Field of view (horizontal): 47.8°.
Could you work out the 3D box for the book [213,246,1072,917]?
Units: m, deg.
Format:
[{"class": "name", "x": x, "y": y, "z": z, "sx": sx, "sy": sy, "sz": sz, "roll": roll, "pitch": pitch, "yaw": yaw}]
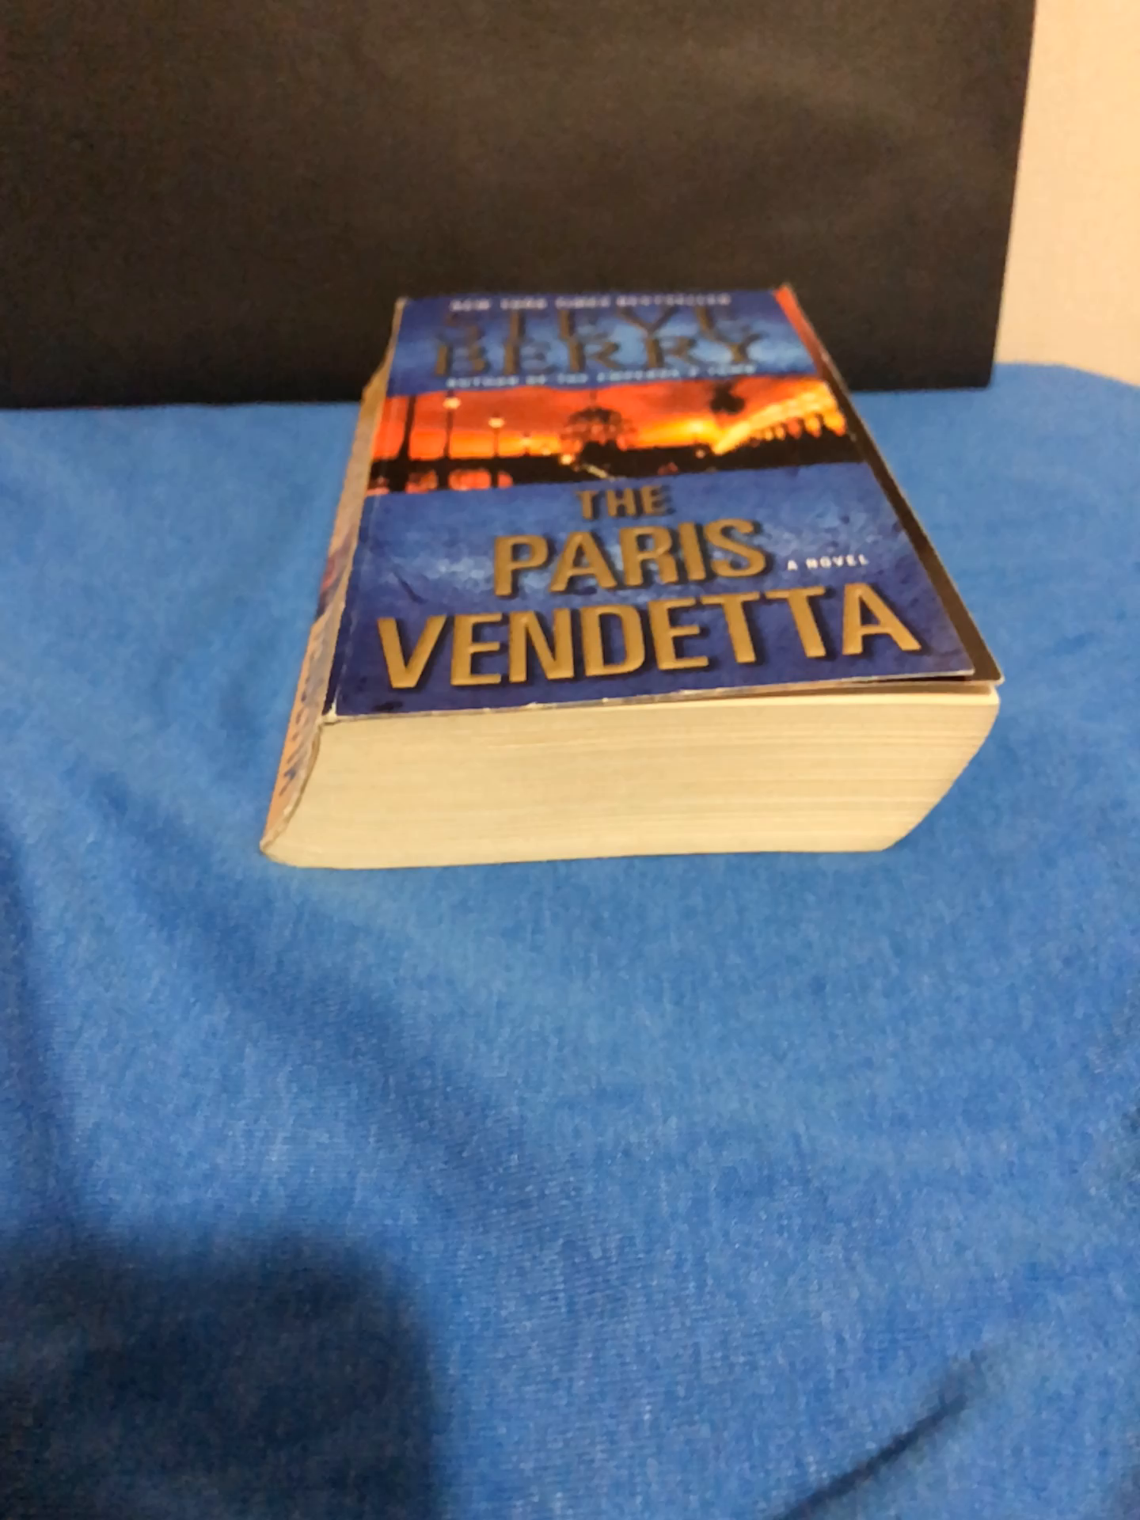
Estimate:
[{"class": "book", "x": 0.003, "y": -0.054, "z": 0.273, "sx": 0.120, "sy": 0.050, "sz": 0.201, "roll": 1, "pitch": 35, "yaw": -6}]
